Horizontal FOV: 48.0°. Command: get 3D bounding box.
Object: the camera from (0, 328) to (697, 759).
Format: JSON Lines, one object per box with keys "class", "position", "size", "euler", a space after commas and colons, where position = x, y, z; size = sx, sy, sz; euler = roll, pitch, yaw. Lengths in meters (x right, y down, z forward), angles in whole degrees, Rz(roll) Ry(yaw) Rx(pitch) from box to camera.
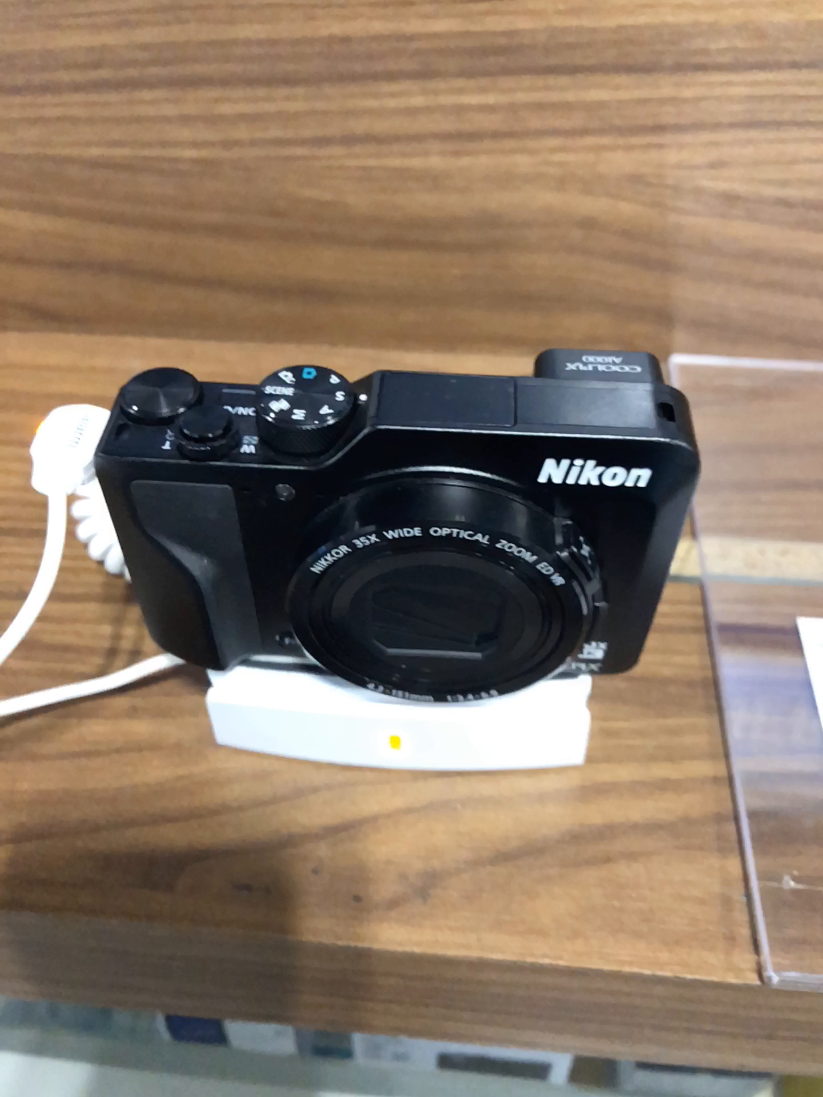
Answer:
{"class": "camera", "position": [-0.010, -0.001, 0.198], "size": [0.120, 0.070, 0.050], "euler": [4, 44, 5]}
